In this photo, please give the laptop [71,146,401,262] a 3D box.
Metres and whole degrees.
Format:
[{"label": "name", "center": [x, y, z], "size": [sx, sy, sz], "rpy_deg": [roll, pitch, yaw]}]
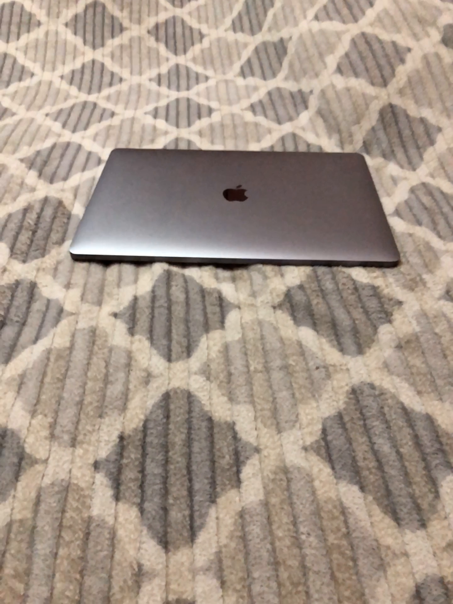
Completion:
[{"label": "laptop", "center": [0.011, -0.136, 0.631], "size": [0.358, 0.007, 0.247], "rpy_deg": [2, 43, 1]}]
